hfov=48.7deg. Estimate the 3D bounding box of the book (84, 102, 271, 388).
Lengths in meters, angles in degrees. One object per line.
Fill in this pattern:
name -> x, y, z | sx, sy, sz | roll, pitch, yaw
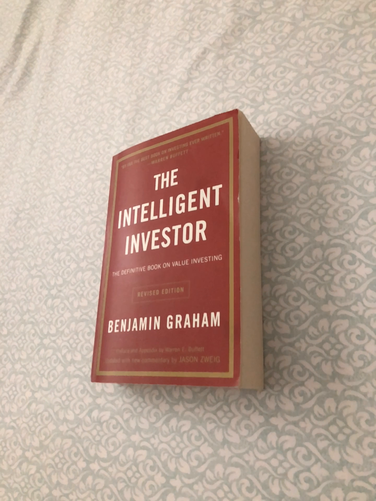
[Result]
book -> -0.009, 0.002, 0.330 | 0.130, 0.050, 0.200 | -11, 69, 33
